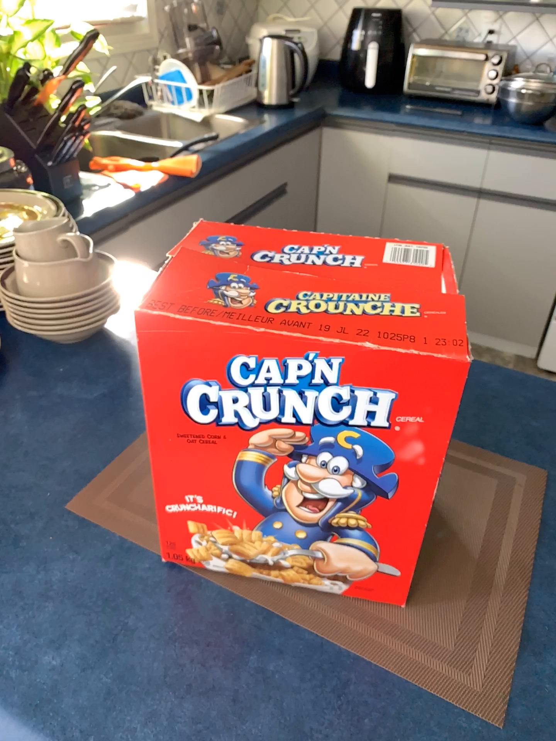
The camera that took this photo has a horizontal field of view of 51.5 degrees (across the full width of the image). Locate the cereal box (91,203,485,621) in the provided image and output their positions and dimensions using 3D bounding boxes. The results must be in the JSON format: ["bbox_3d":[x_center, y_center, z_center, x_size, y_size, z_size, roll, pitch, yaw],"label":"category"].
[{"bbox_3d":[0.018,0.032,0.556,0.270,0.297,0.212,8,35,9],"label":"cereal box"}]
